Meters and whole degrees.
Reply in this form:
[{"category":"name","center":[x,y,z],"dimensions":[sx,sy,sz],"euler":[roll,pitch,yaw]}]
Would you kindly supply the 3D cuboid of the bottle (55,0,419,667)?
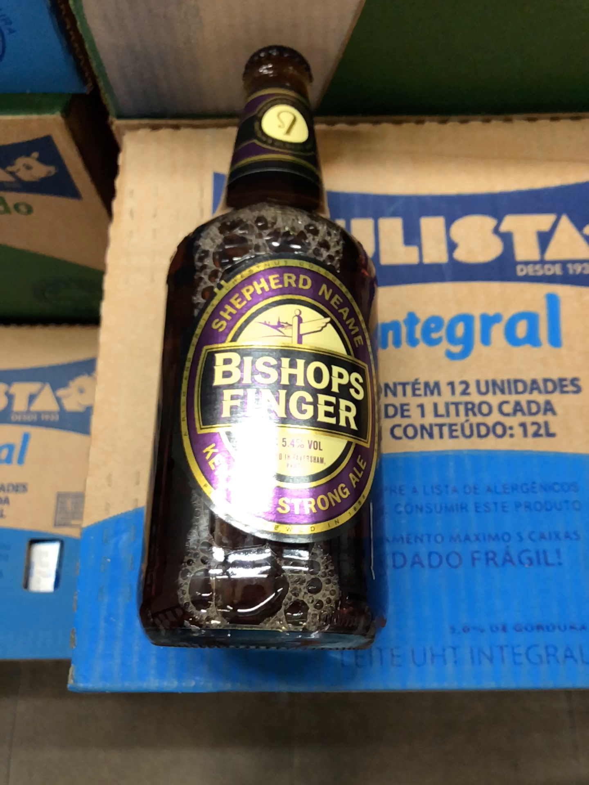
[{"category":"bottle","center":[-0.011,-0.044,0.224],"dimensions":[0.080,0.070,0.251],"euler":[0,69,1]}]
